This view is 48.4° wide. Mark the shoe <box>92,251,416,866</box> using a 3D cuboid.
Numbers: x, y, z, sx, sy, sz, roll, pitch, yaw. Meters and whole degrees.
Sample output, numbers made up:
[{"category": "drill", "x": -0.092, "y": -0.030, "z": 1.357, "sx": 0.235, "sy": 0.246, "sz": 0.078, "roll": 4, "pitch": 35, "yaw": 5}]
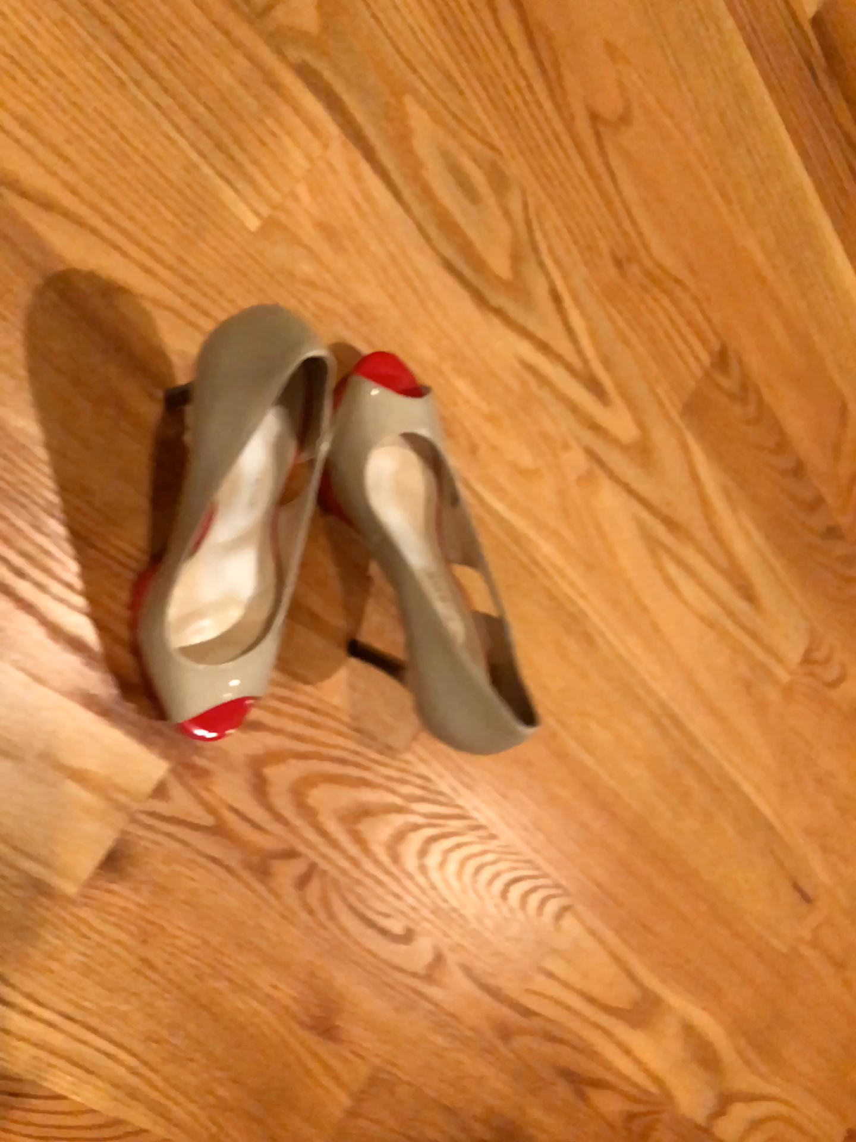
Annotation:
[{"category": "shoe", "x": -0.078, "y": -0.010, "z": 0.408, "sx": 0.085, "sy": 0.130, "sz": 0.215, "roll": -5, "pitch": 99, "yaw": -35}]

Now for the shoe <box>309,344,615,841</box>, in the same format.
[{"category": "shoe", "x": 0.013, "y": 0.002, "z": 0.500, "sx": 0.080, "sy": 0.150, "sz": 0.220, "roll": -7, "pitch": 100, "yaw": -35}]
